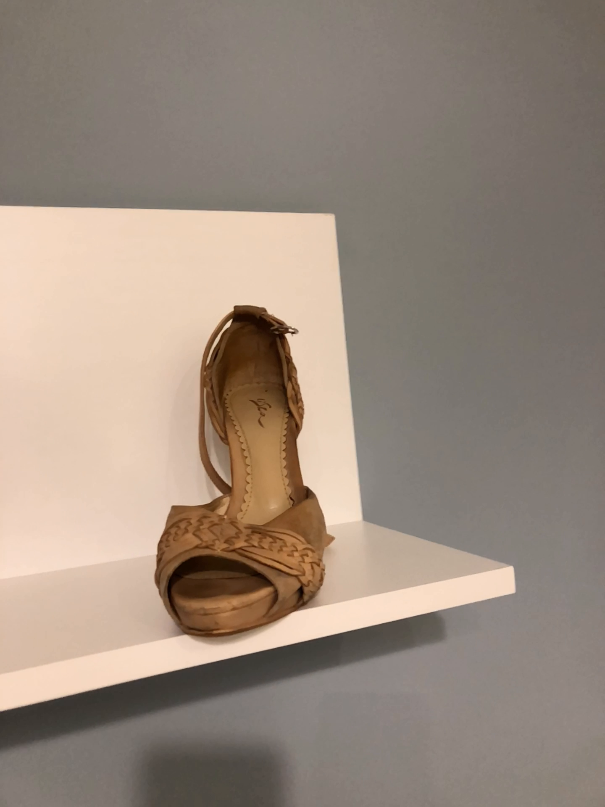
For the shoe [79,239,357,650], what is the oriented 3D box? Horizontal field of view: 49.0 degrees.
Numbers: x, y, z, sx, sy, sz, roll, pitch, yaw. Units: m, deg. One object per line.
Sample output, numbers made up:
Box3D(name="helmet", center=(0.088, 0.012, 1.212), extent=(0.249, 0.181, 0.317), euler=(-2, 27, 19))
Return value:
Box3D(name="shoe", center=(-0.032, 0.021, 0.407), extent=(0.100, 0.180, 0.210), euler=(-5, -2, 9))
